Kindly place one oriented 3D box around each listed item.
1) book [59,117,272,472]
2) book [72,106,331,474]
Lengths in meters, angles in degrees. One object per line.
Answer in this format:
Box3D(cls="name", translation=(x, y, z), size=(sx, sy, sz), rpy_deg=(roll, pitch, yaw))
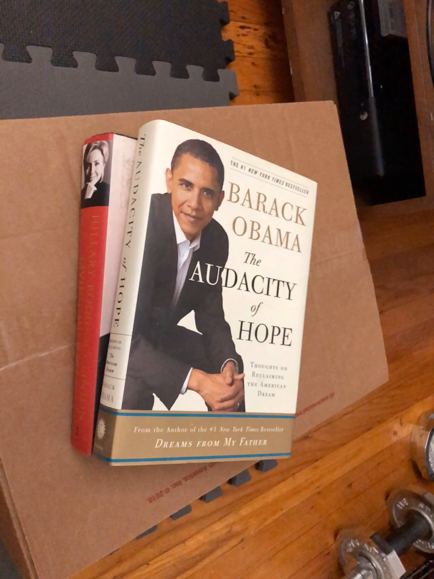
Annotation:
Box3D(cls="book", translation=(-0.035, 0.006, 0.404), size=(0.171, 0.040, 0.250), rpy_deg=(4, 86, -35))
Box3D(cls="book", translation=(0.001, 0.011, 0.392), size=(0.191, 0.040, 0.250), rpy_deg=(11, 82, -34))
